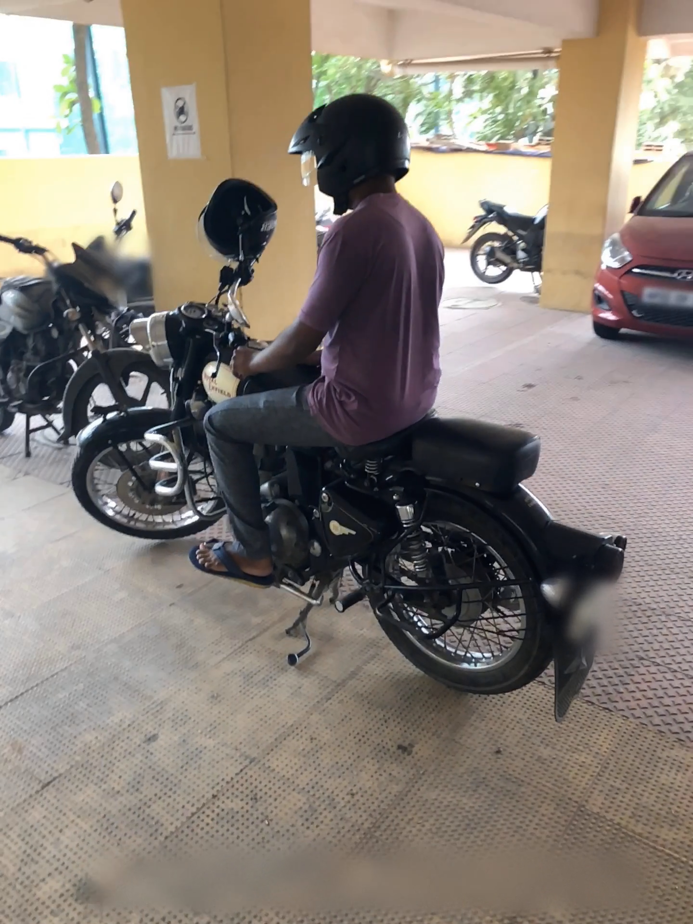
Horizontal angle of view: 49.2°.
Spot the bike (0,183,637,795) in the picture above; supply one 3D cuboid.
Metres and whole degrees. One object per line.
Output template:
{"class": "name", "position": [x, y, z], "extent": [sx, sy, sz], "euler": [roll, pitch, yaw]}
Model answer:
{"class": "bike", "position": [-0.227, -0.092, 2.247], "extent": [1.764, 1.097, 0.728], "euler": [18, 28, 26]}
